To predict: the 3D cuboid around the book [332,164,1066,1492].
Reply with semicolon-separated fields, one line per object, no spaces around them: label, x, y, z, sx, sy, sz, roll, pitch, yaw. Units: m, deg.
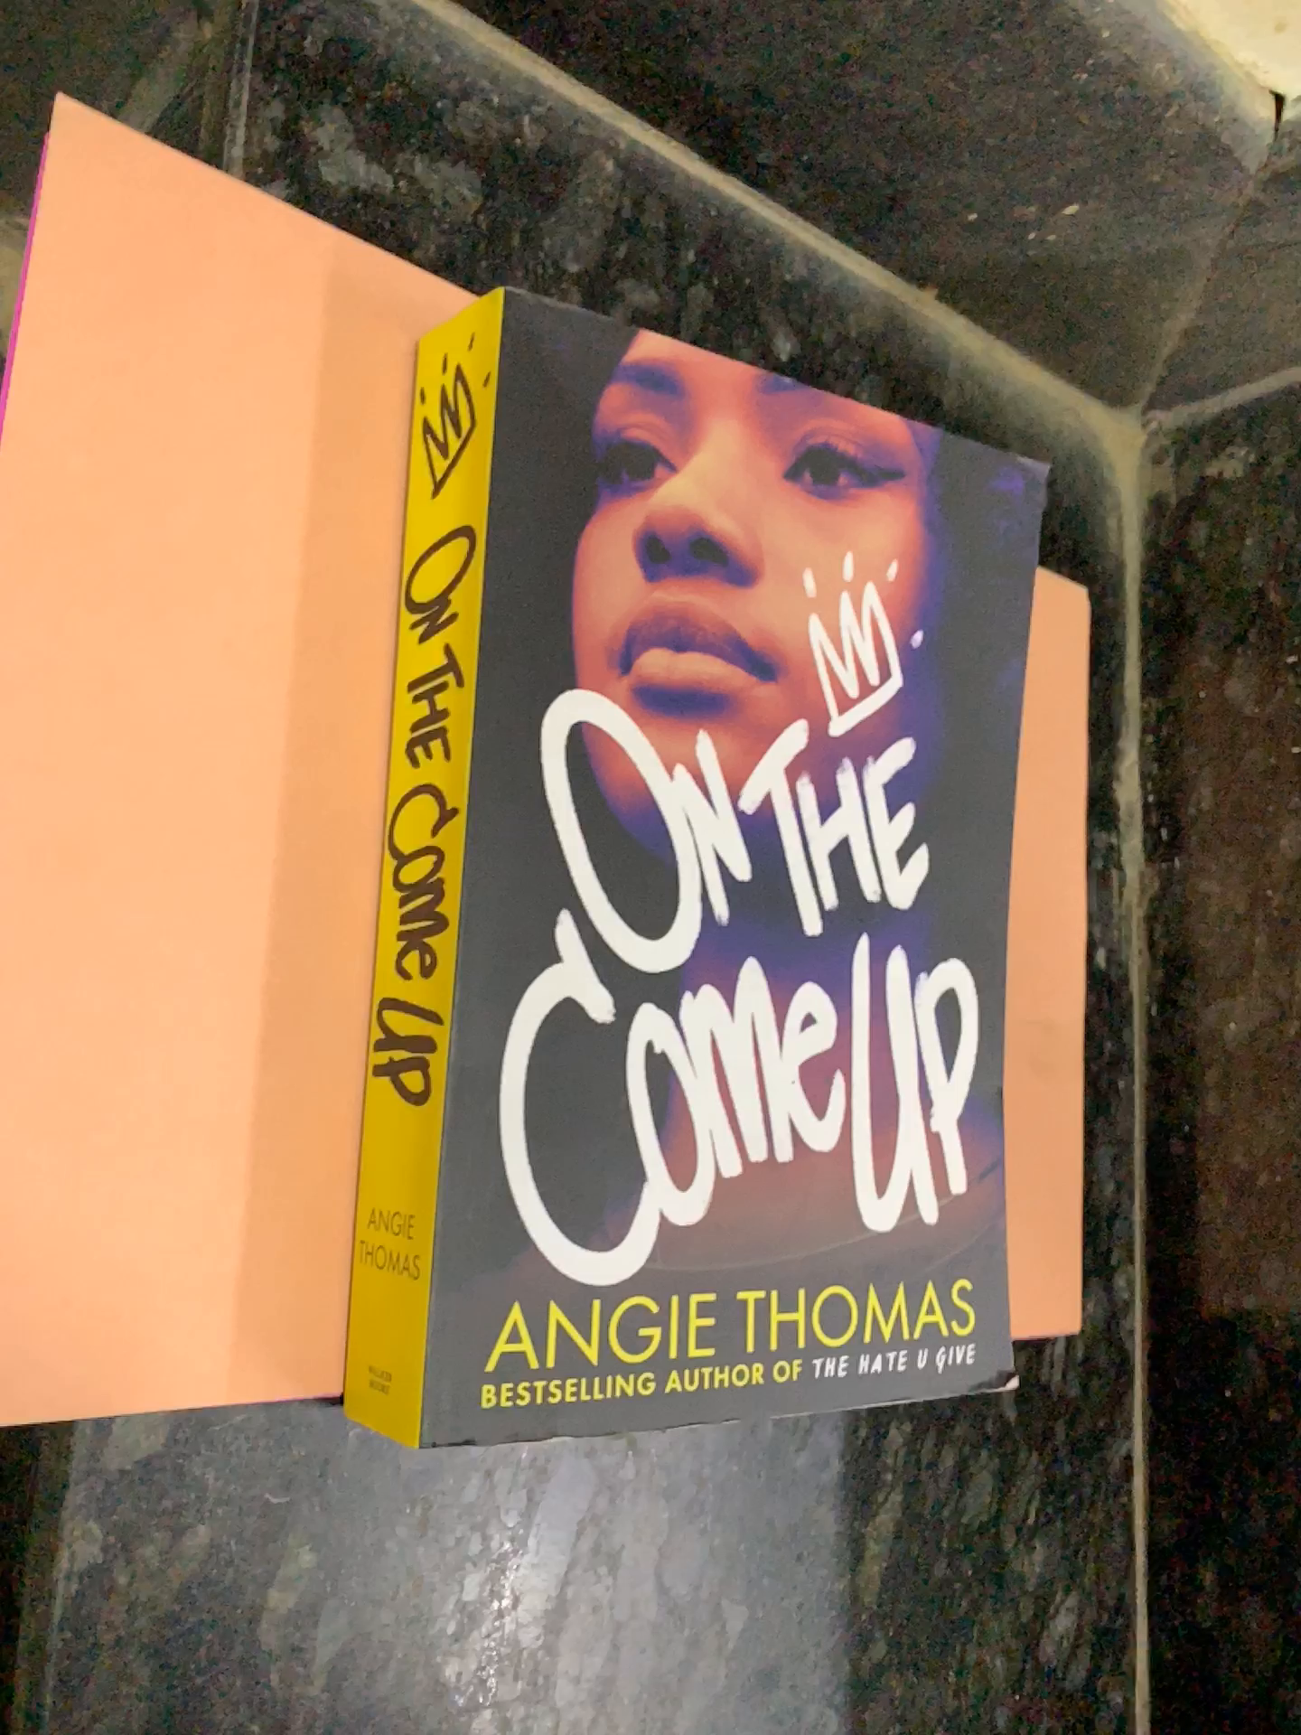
book;0.018;-0.004;0.253;0.131;0.040;0.200;8;79;-34
